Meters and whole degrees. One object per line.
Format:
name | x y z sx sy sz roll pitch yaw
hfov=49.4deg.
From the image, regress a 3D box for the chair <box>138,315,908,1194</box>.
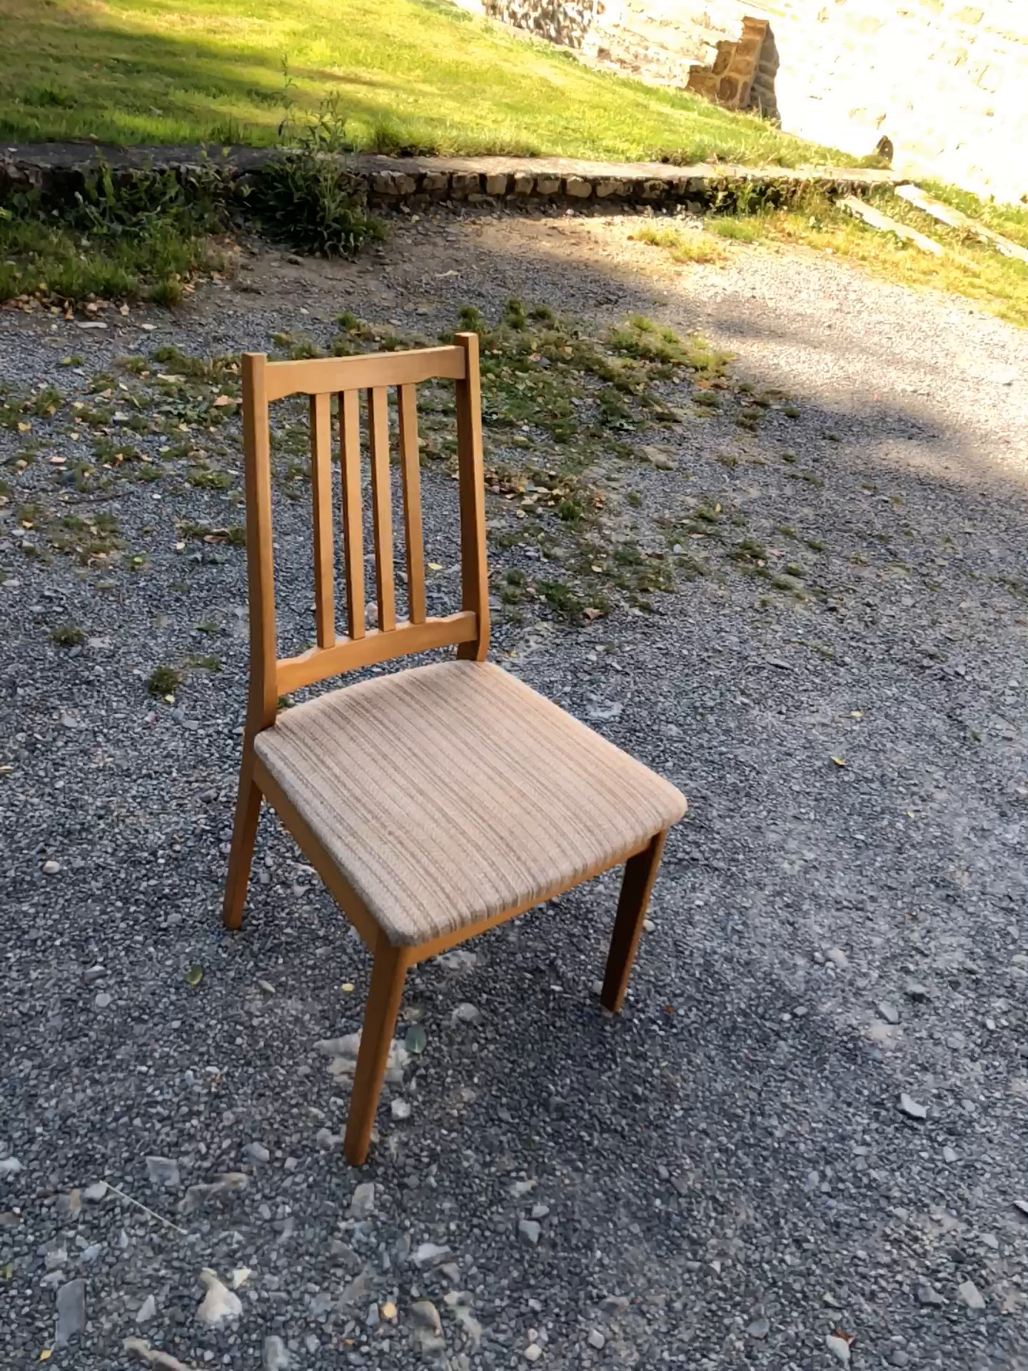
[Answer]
chair | -0.060 0.052 1.478 0.603 0.844 0.591 -18 48 -39
